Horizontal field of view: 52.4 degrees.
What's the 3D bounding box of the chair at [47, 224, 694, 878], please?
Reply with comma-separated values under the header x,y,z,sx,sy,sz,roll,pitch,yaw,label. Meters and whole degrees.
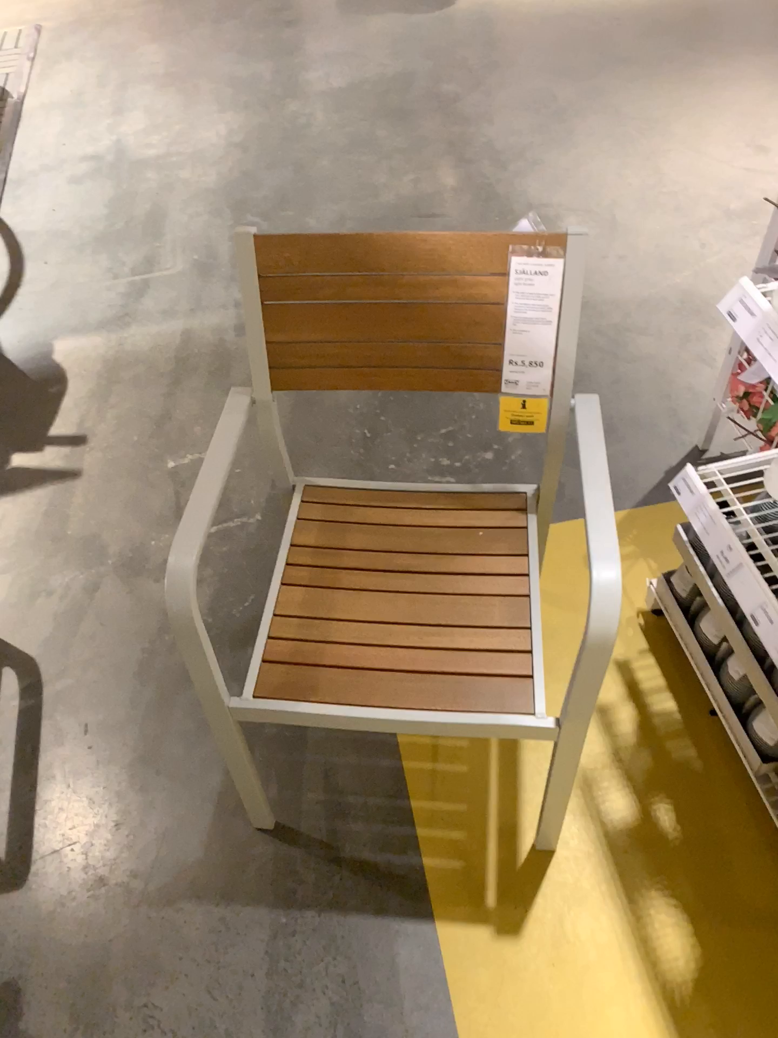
x,y,z,sx,sy,sz,roll,pitch,yaw,label
0.028,0.070,1.145,0.560,0.728,0.602,3,51,7,chair
